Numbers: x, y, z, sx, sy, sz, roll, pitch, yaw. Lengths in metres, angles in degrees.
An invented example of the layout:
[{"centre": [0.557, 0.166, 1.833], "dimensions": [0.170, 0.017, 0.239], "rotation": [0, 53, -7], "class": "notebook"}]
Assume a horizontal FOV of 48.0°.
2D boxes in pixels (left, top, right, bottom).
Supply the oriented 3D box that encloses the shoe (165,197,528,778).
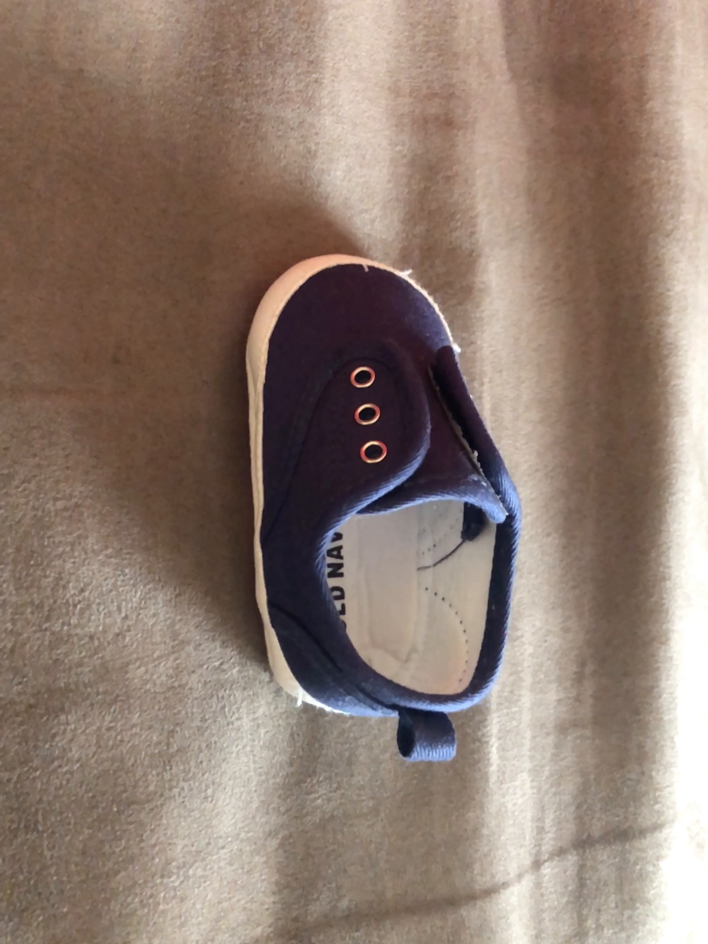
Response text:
[{"centre": [-0.005, 0.004, 0.191], "dimensions": [0.060, 0.060, 0.110], "rotation": [4, 89, -26], "class": "shoe"}]
